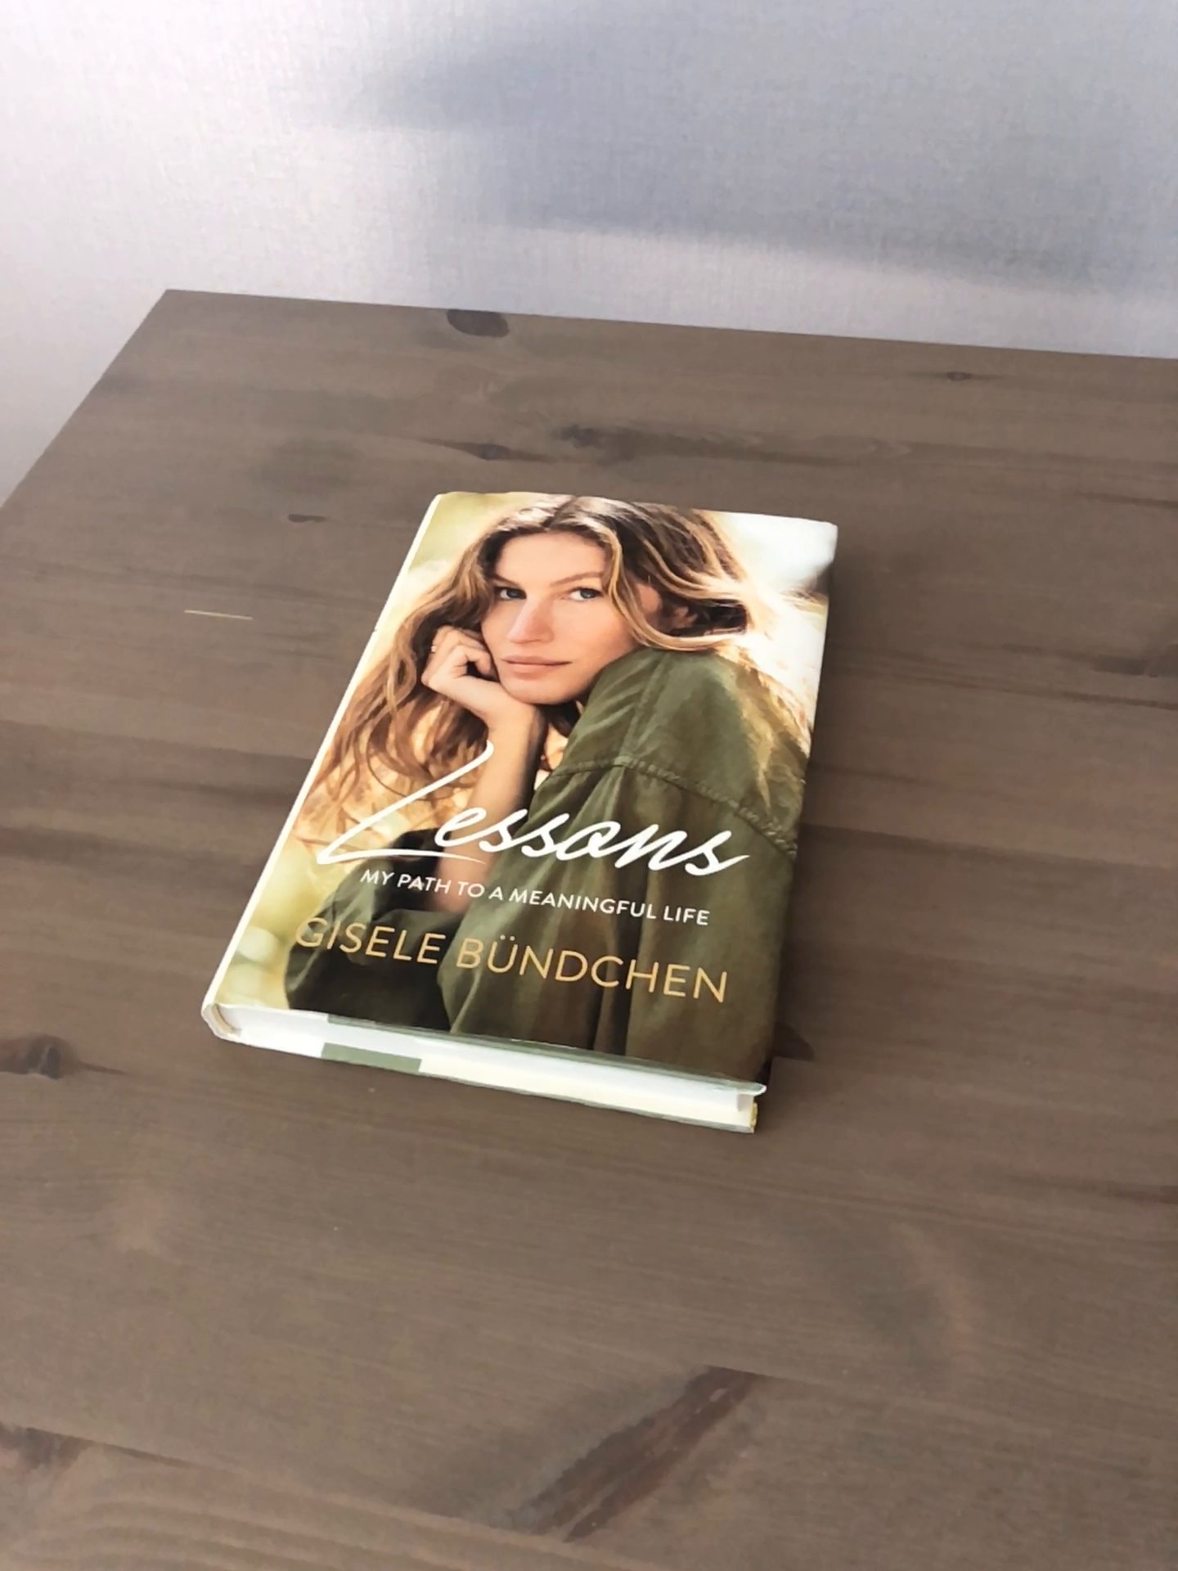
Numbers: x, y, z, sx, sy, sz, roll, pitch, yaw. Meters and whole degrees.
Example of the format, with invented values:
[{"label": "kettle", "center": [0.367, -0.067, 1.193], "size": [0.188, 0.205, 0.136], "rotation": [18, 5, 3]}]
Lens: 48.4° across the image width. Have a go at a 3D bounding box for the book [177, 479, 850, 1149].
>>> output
[{"label": "book", "center": [-0.007, -0.010, 0.416], "size": [0.160, 0.030, 0.228], "rotation": [7, 50, 9]}]
